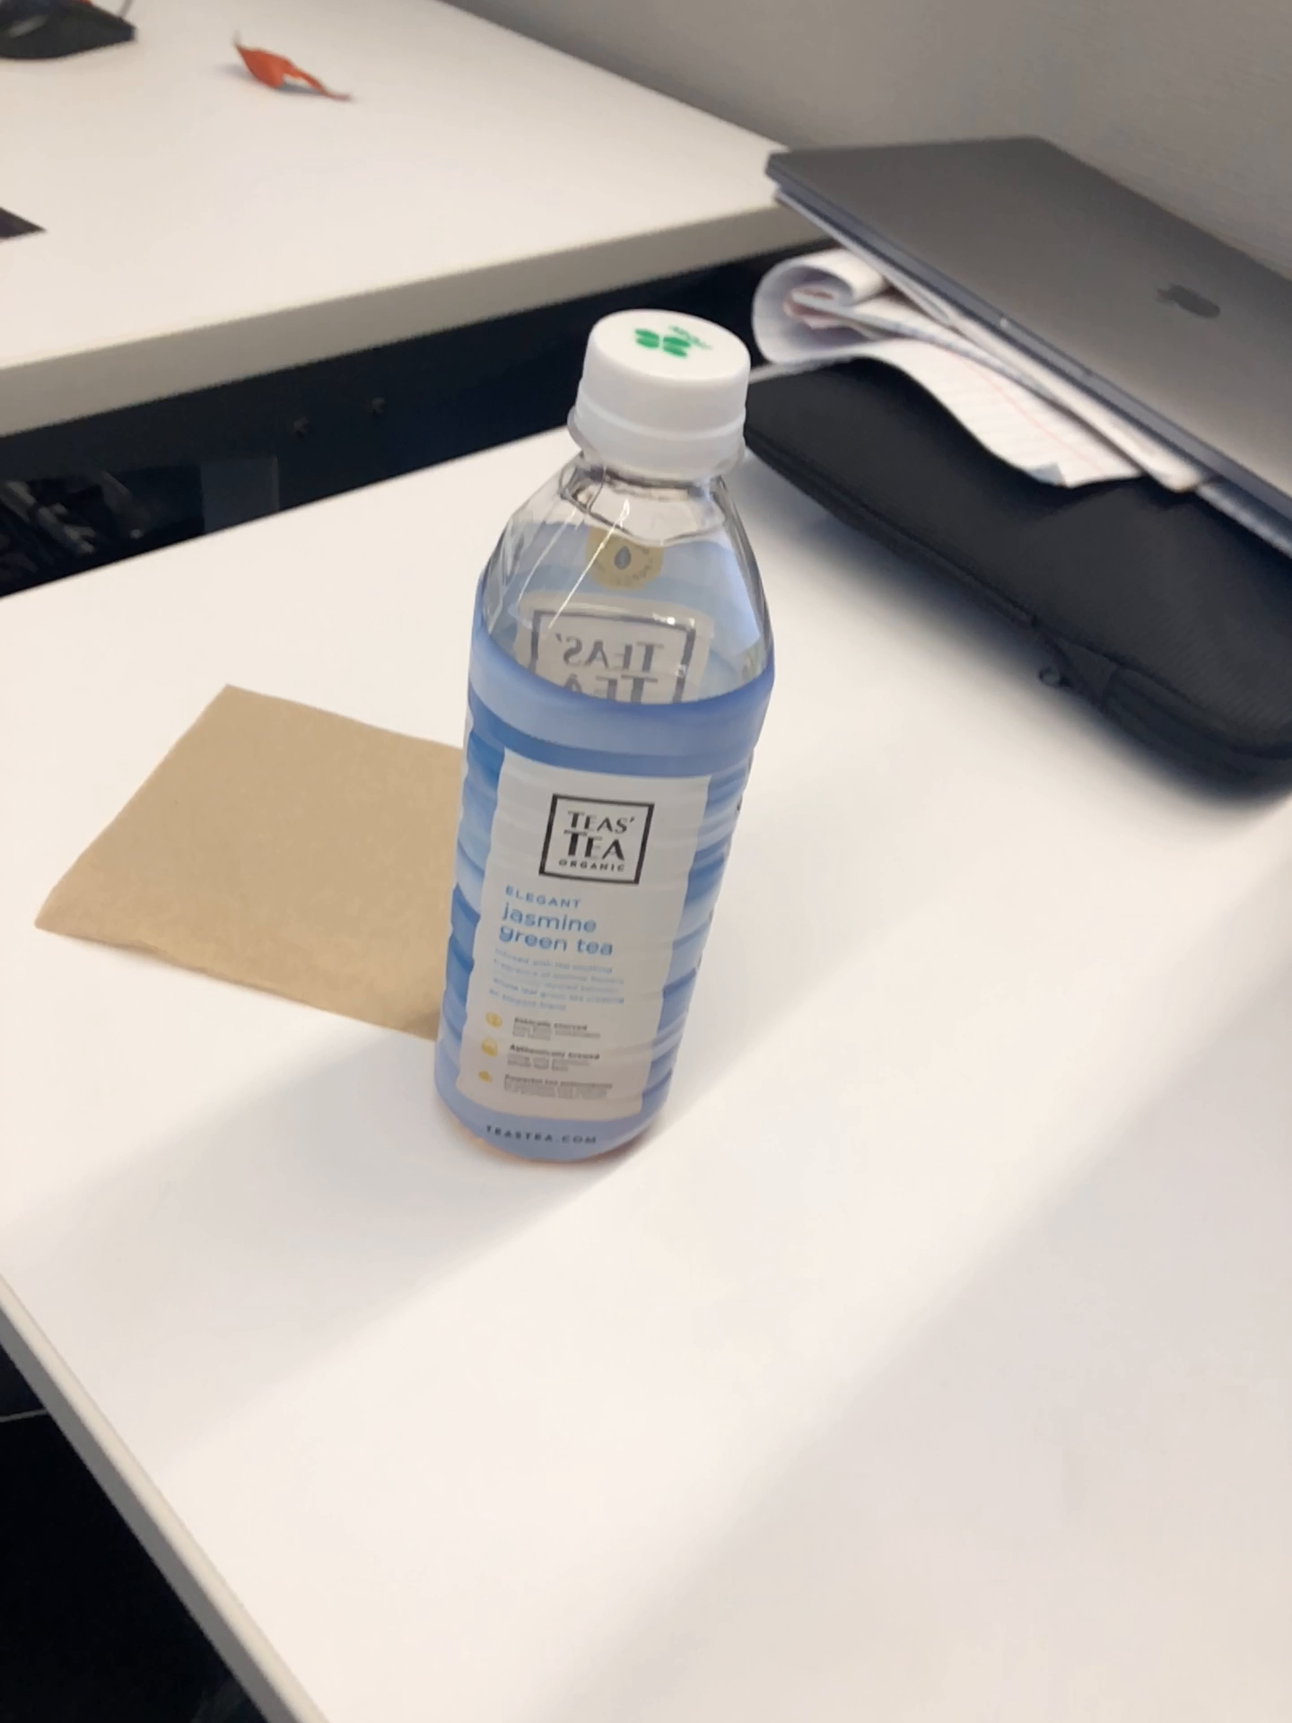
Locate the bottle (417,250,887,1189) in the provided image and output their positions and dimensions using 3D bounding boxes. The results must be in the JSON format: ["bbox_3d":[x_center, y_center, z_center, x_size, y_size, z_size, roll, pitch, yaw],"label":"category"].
[{"bbox_3d":[-0.010,-0.019,0.336,0.070,0.209,0.070,7,40,-6],"label":"bottle"}]
